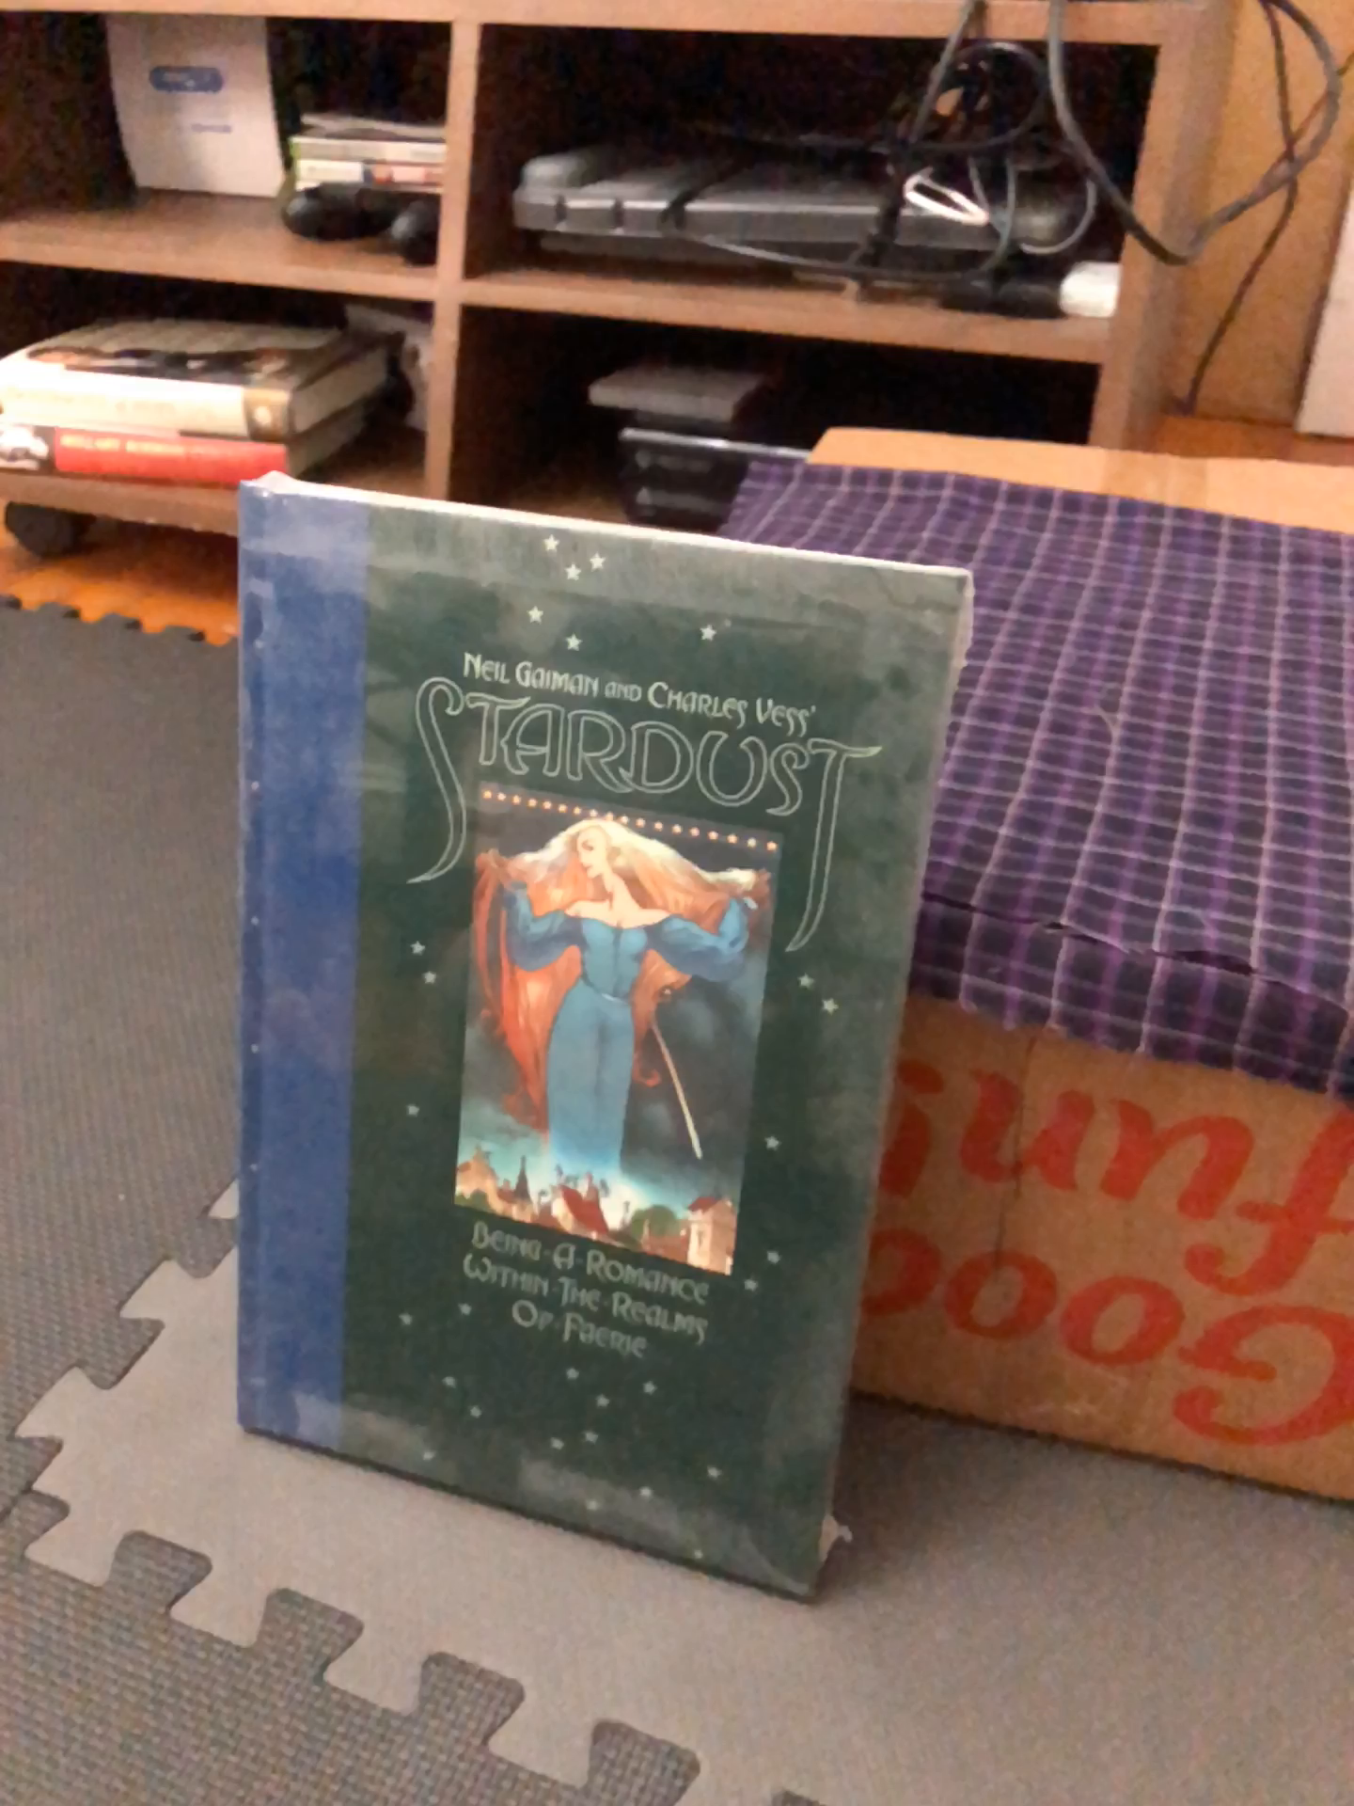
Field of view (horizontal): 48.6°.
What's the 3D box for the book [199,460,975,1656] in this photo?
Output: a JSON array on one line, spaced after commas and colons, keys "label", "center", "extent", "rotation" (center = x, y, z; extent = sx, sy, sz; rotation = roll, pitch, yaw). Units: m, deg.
[{"label": "book", "center": [-0.042, 0.050, 0.441], "extent": [0.210, 0.329, 0.020], "rotation": [10, 18, 16]}]
